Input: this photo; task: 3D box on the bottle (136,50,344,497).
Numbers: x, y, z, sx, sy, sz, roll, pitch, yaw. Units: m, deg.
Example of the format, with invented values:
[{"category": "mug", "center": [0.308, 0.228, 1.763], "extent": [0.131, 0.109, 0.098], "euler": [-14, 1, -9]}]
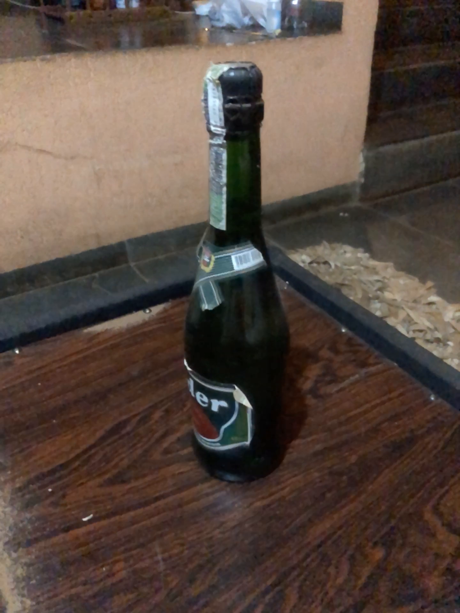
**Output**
[{"category": "bottle", "center": [0.004, -0.010, 0.353], "extent": [0.080, 0.288, 0.090], "euler": [-16, 36, -22]}]
